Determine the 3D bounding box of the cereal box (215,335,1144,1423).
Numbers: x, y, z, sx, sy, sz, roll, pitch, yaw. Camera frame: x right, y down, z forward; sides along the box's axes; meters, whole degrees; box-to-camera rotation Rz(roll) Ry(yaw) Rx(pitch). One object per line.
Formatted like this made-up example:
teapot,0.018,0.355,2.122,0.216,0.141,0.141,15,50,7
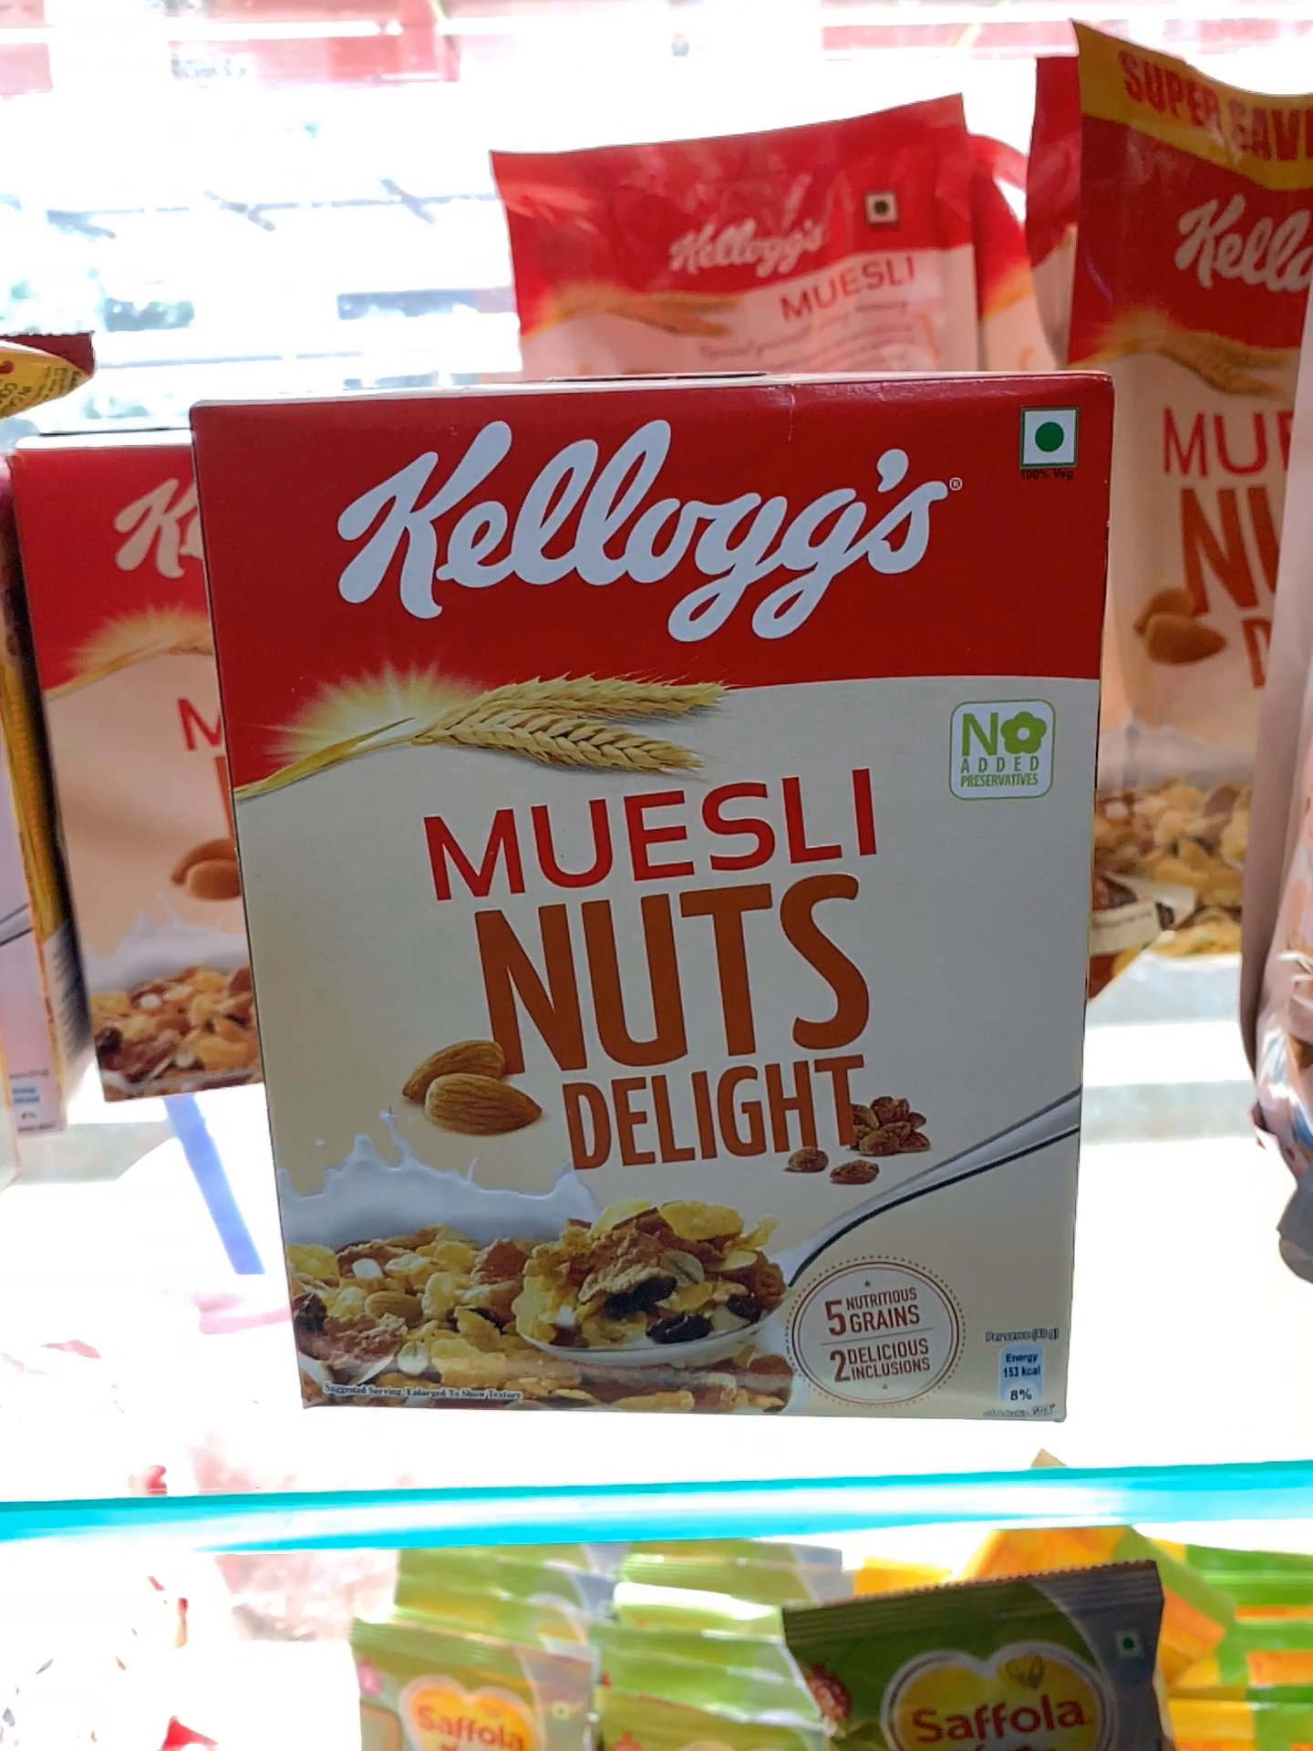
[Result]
cereal box,0.006,0.003,0.237,0.130,0.169,0.050,0,15,6
